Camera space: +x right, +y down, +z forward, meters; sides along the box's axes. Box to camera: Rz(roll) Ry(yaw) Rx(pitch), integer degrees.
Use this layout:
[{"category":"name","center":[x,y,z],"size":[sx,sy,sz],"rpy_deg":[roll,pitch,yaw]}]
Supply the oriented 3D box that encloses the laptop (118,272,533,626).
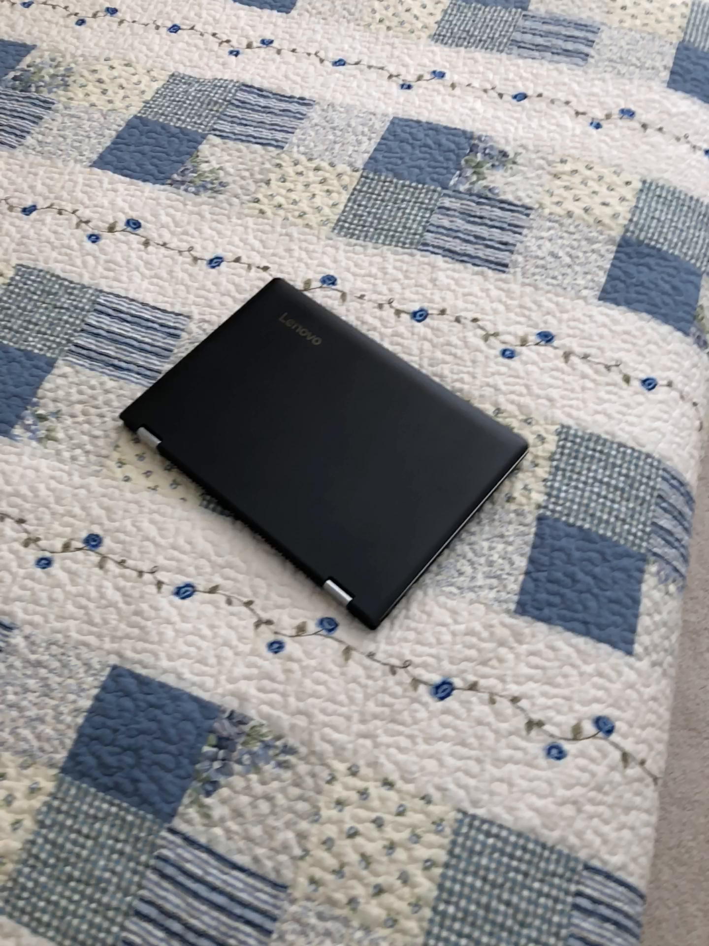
[{"category":"laptop","center":[-0.033,-0.042,0.731],"size":[0.321,0.008,0.224],"rpy_deg":[36,71,21]}]
